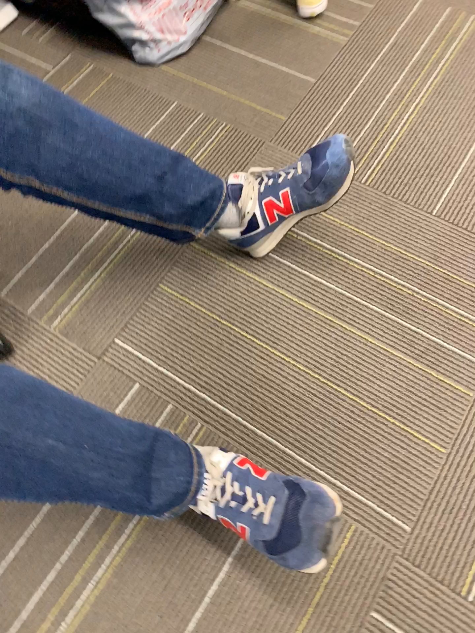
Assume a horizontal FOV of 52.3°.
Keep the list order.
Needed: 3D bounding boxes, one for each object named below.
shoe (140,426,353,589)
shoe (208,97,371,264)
[{"bbox_3d":[-0.005,0.253,0.683,0.135,0.297,0.120,20,78,-30],"label":"shoe"},{"bbox_3d":[0.073,-0.220,0.853,0.095,0.302,0.115,13,60,-35],"label":"shoe"}]
